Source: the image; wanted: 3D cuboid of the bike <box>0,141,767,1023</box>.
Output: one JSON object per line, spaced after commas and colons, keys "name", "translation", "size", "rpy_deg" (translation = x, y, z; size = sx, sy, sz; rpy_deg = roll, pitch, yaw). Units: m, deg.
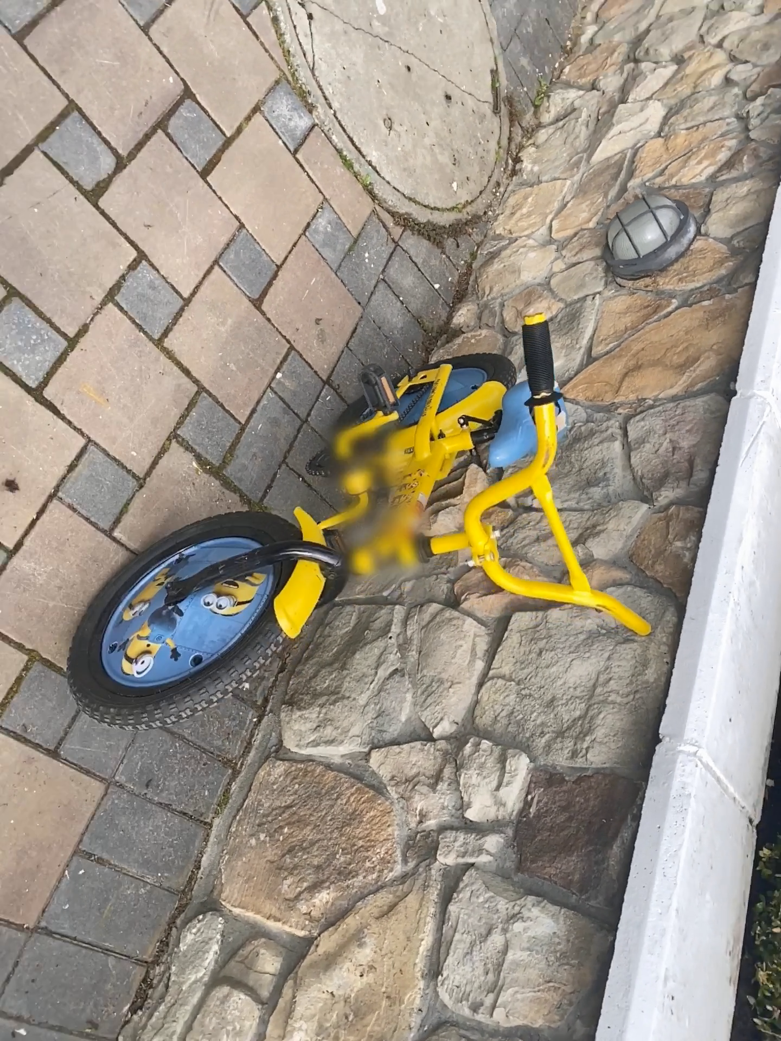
{"name": "bike", "translation": [0.084, -0.027, 1.303], "size": [1.089, 0.735, 0.620], "rpy_deg": [-51, 124, -41]}
